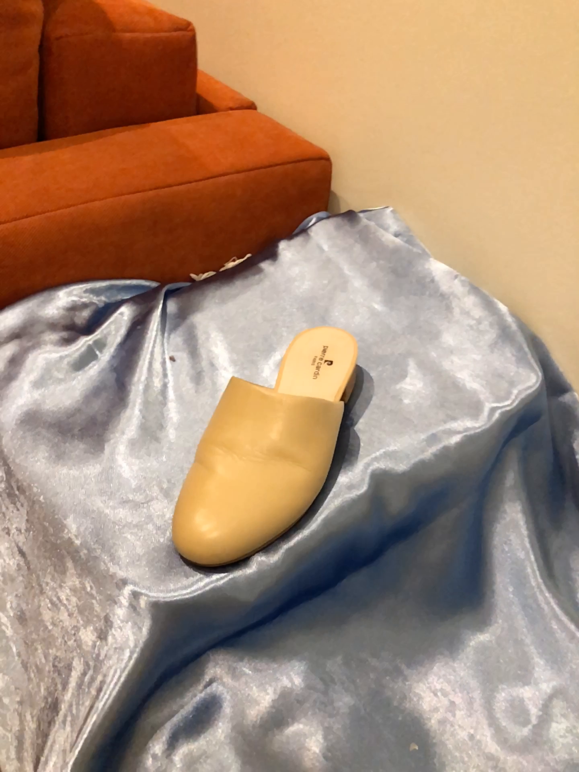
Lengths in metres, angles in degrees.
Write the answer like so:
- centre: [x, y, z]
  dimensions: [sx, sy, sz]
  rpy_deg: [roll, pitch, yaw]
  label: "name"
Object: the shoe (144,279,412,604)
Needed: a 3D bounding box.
- centre: [0.005, 0.021, 0.484]
  dimensions: [0.095, 0.060, 0.262]
  rpy_deg: [21, 44, 13]
  label: "shoe"
